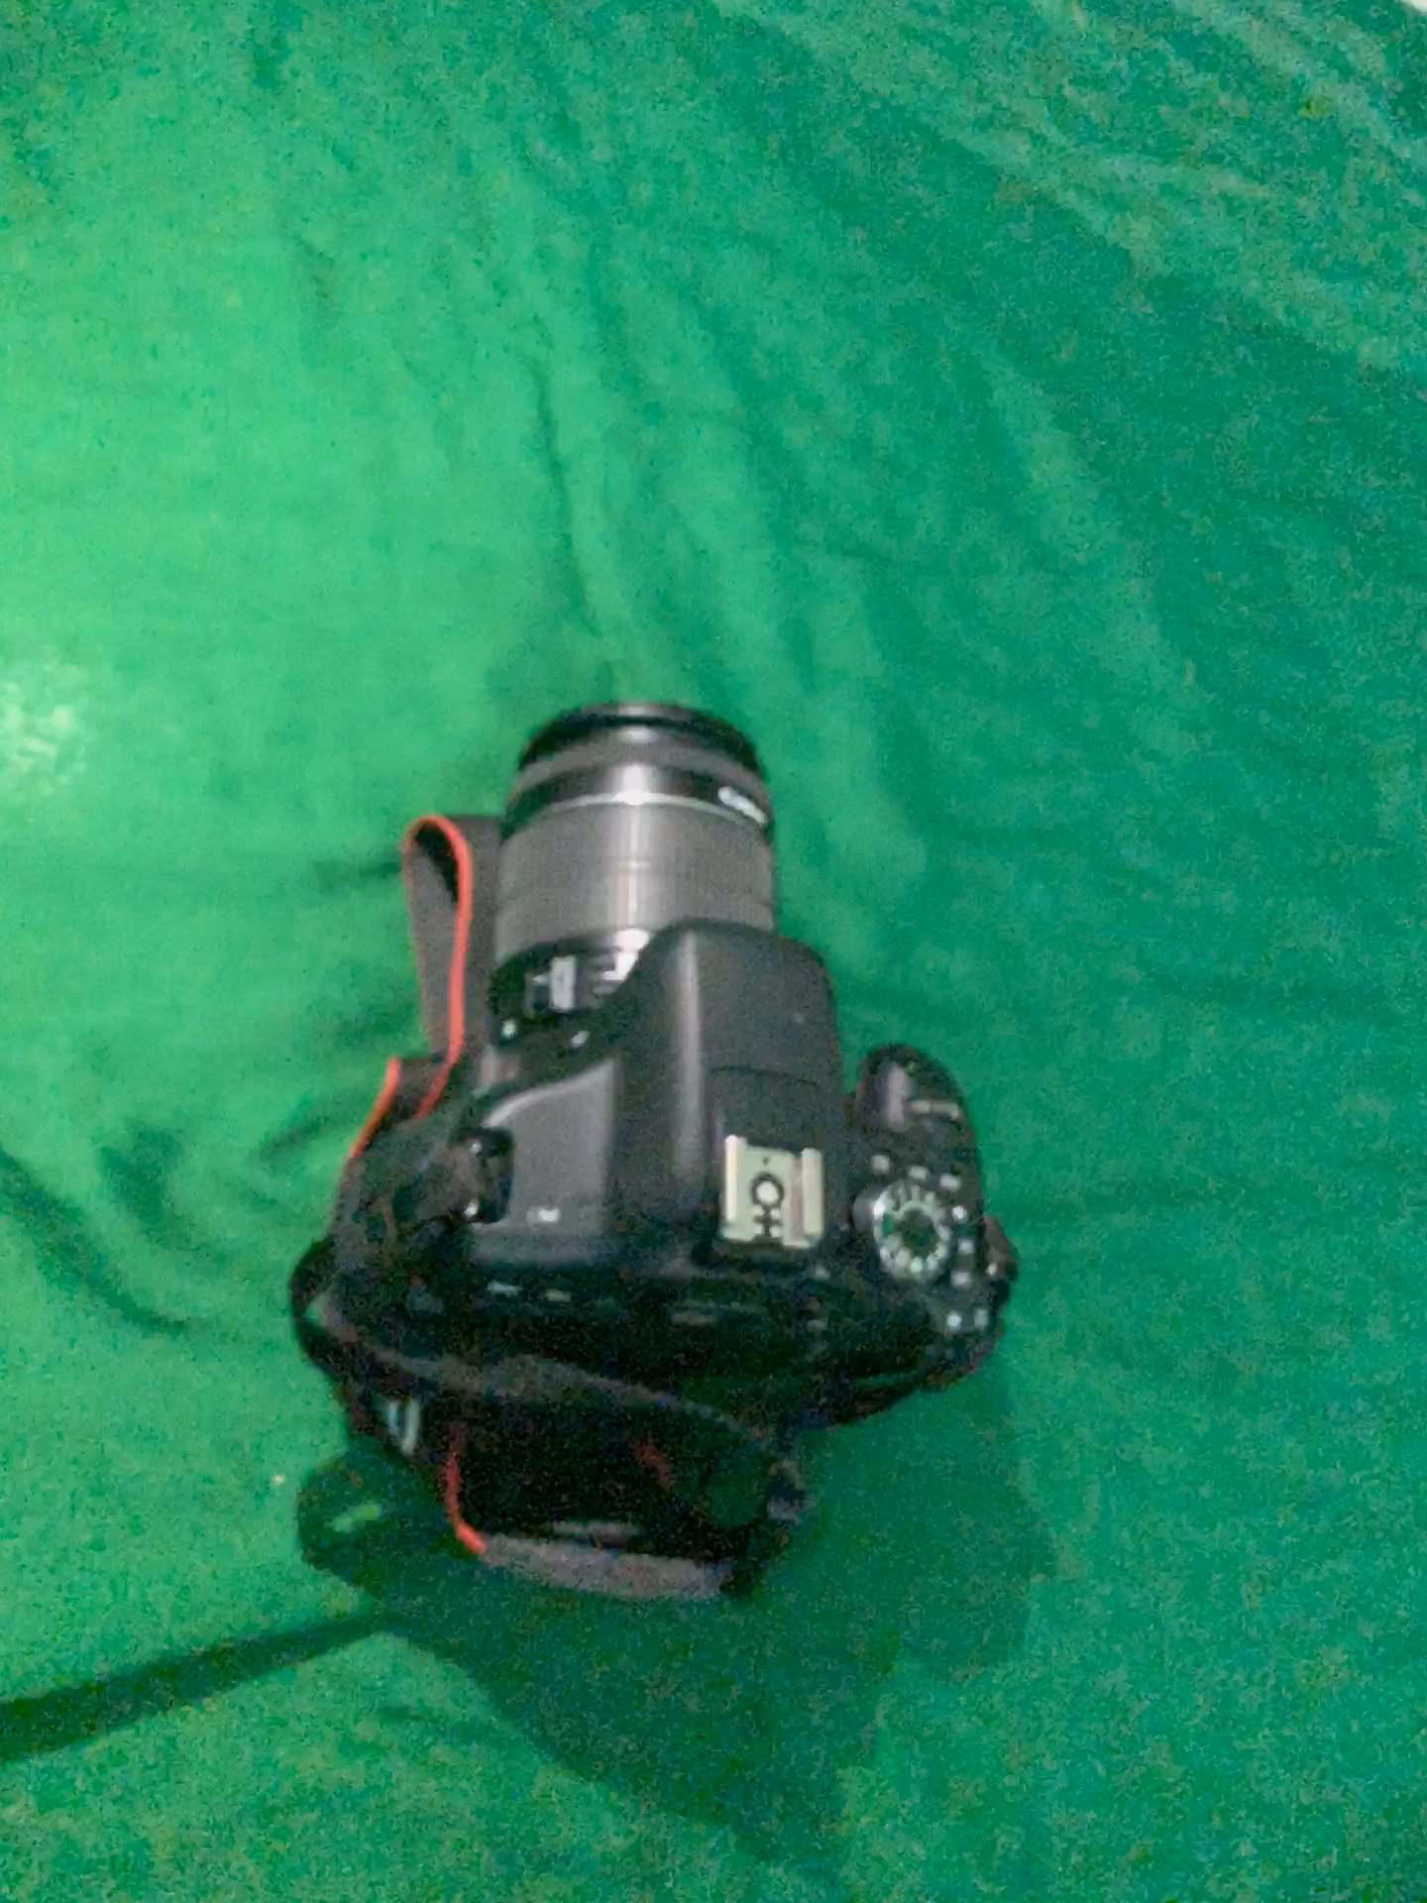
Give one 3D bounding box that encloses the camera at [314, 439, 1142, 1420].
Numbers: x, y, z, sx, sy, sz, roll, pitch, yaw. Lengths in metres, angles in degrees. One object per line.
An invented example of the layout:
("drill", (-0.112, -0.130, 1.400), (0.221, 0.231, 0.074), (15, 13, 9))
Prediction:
("camera", (0.002, 0.009, 0.357), (0.153, 0.100, 0.191), (9, 70, -22))
